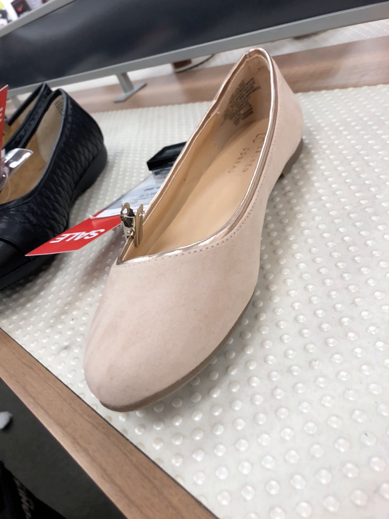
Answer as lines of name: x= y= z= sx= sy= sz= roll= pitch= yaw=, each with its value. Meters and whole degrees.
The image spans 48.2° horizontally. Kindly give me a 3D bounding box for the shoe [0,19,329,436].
shoe: x=-0.003 y=-0.039 z=0.227 sx=0.085 sy=0.064 sz=0.228 roll=-1 pitch=42 yaw=34
